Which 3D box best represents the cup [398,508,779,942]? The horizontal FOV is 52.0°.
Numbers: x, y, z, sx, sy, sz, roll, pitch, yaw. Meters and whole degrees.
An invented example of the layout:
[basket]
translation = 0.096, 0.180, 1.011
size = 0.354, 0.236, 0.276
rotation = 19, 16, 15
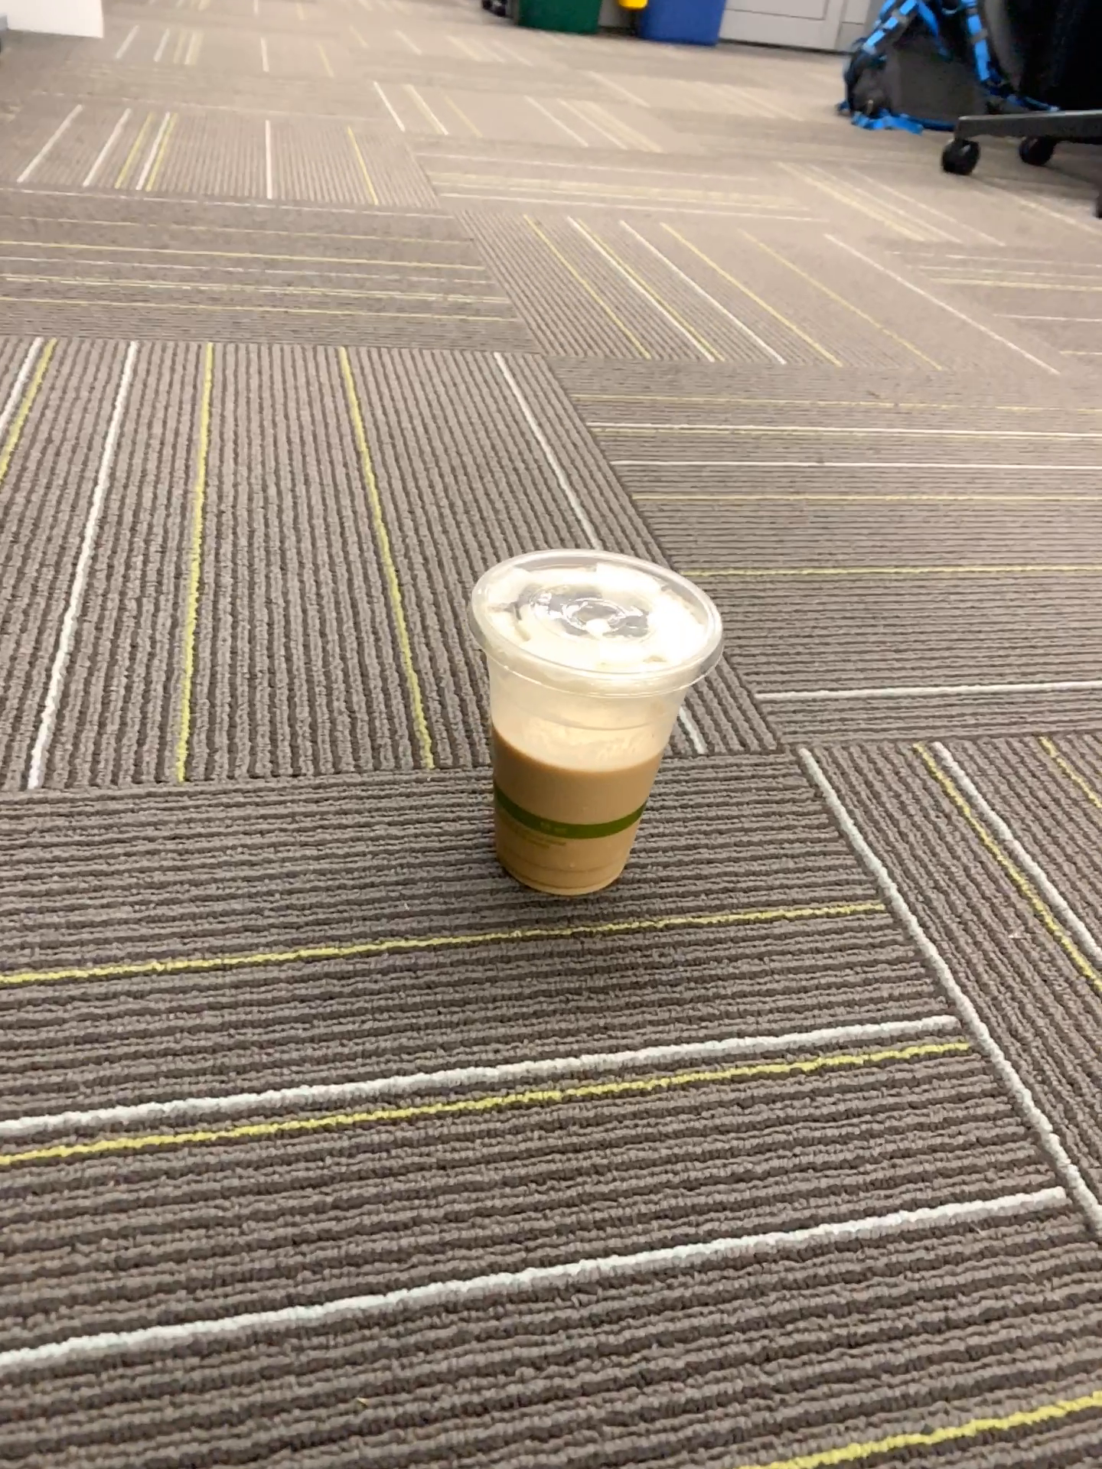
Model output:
[cup]
translation = 0.012, -0.008, 0.447
size = 0.100, 0.109, 0.100
rotation = 5, 35, -3
